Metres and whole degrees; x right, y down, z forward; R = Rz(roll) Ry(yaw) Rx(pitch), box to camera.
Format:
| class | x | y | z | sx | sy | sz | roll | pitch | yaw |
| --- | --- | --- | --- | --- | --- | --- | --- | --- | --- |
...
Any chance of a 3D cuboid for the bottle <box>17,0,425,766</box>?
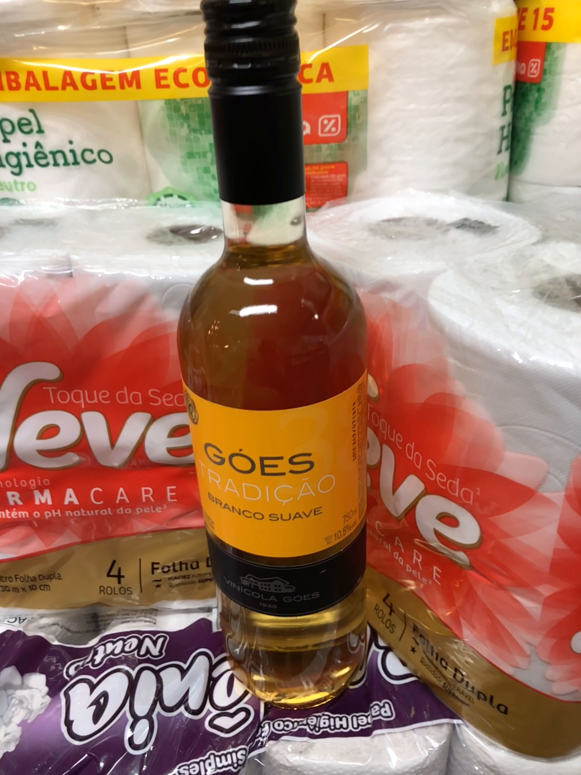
| class | x | y | z | sx | sy | sz | roll | pitch | yaw |
| --- | --- | --- | --- | --- | --- | --- | --- | --- | --- |
| bottle | -0.003 | 0.011 | 0.274 | 0.090 | 0.318 | 0.091 | -4 | 30 | 2 |
